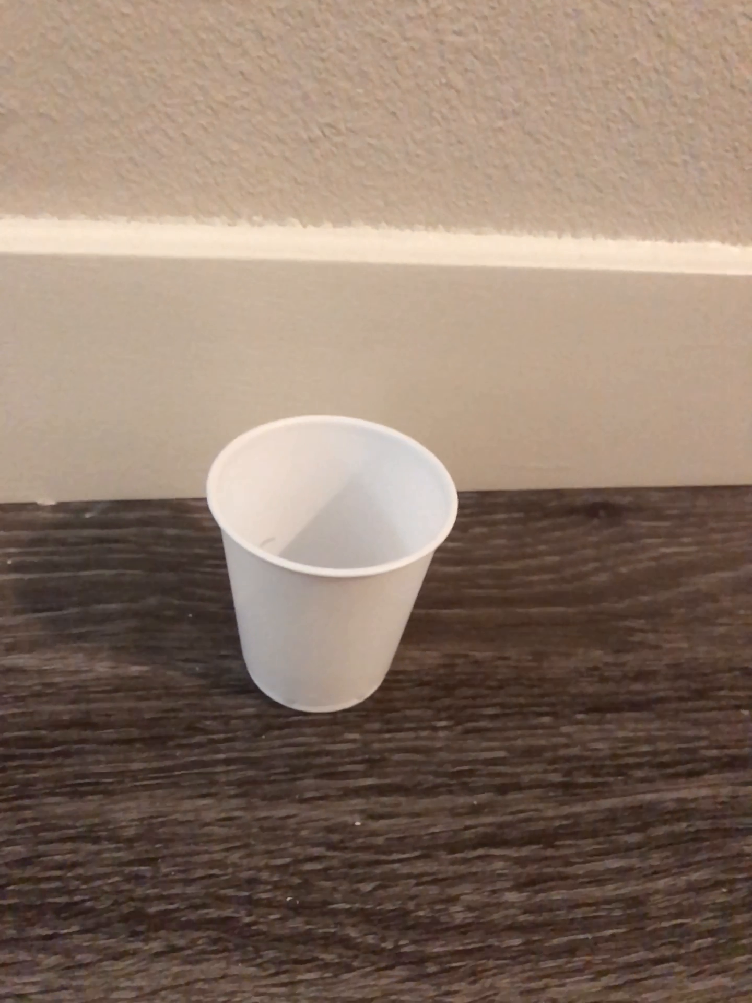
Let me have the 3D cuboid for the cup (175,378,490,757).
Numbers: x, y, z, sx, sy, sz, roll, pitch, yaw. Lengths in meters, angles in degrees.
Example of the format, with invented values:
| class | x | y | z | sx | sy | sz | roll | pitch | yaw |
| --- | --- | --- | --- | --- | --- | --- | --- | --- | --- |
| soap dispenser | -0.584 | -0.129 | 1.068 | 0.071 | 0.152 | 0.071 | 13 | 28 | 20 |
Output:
| class | x | y | z | sx | sy | sz | roll | pitch | yaw |
| --- | --- | --- | --- | --- | --- | --- | --- | --- | --- |
| cup | -0.010 | 0.015 | 0.215 | 0.060 | 0.060 | 0.060 | 5 | 39 | -4 |
